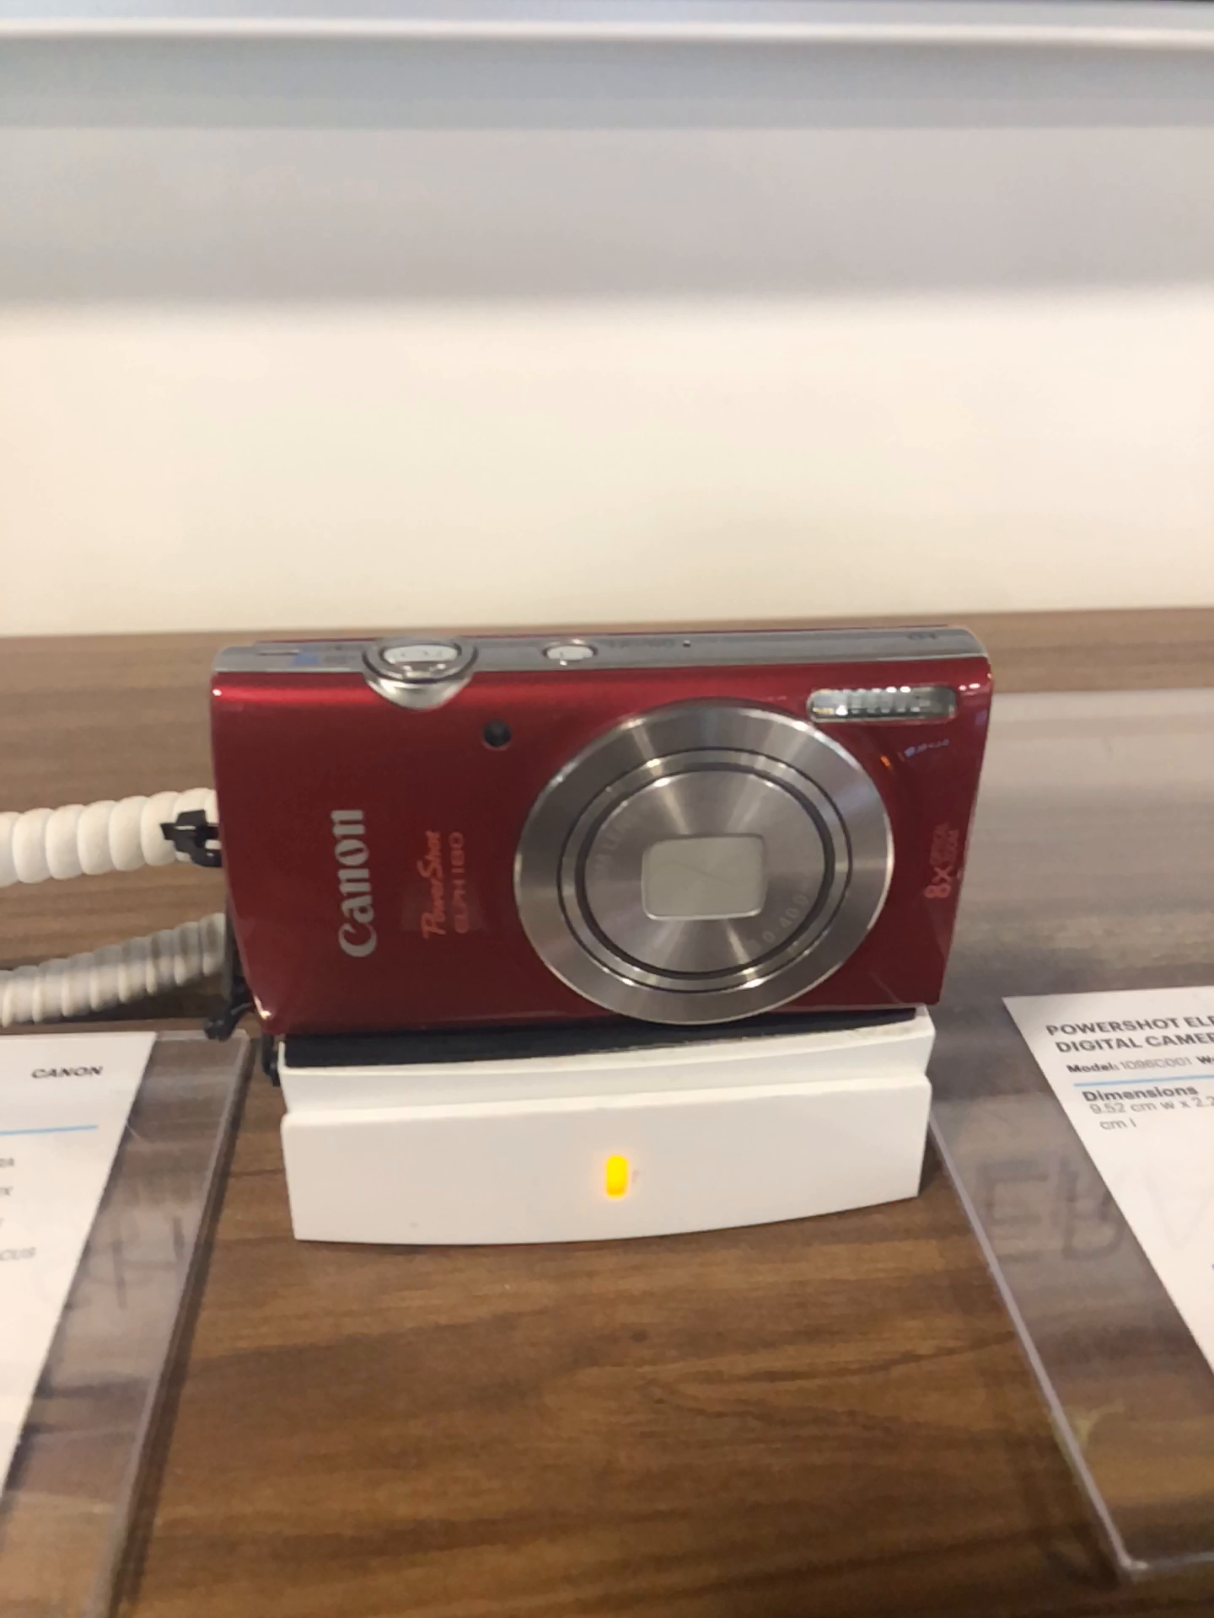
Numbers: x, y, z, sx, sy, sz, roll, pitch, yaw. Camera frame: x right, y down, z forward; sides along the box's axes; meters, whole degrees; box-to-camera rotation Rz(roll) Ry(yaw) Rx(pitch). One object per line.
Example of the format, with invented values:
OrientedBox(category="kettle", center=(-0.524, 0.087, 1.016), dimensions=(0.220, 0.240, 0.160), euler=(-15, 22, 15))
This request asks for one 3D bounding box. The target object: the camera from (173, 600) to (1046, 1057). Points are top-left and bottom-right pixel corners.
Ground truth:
OrientedBox(category="camera", center=(0.000, 0.003, 0.173), dimensions=(0.097, 0.051, 0.023), euler=(-2, 34, -4))
